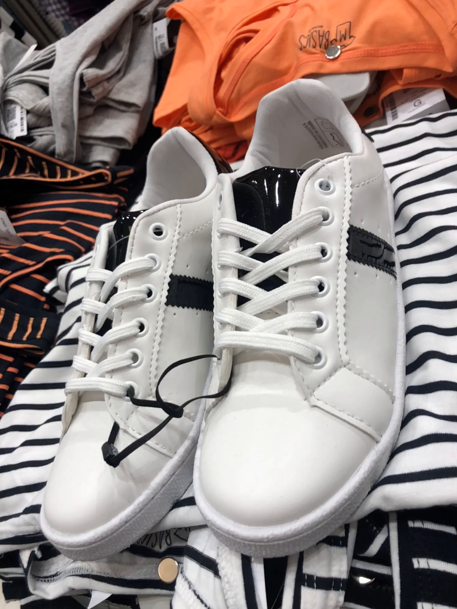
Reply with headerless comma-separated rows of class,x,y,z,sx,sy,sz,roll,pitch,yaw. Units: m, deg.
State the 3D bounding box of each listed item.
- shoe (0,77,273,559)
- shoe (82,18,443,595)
shoe,-0.048,-0.004,0.252,0.080,0.080,0.211,-3,55,28
shoe,0.034,-0.011,0.213,0.090,0.080,0.211,-5,54,26
